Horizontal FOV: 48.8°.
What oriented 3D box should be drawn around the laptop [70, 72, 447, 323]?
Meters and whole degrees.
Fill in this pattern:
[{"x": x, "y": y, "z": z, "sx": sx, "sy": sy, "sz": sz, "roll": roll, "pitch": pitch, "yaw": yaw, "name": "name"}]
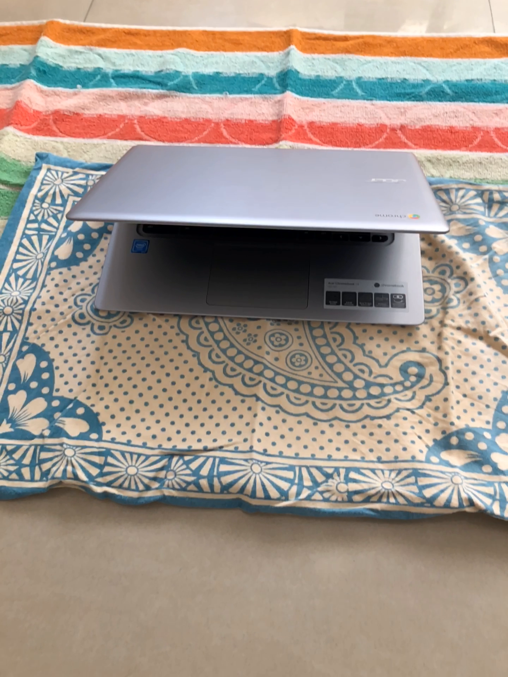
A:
[{"x": 0.011, "y": -0.147, "z": 0.570, "sx": 0.319, "sy": 0.105, "sz": 0.222, "roll": 3, "pitch": 62, "yaw": 4, "name": "laptop"}]
